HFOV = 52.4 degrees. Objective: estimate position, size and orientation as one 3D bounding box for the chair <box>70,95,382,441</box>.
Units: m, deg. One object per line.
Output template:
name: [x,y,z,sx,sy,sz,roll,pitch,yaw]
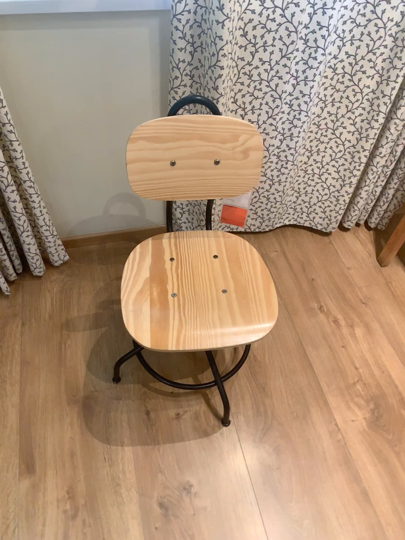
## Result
chair: [-0.007,-0.002,1.063,0.490,0.598,0.632,-3,52,-7]
